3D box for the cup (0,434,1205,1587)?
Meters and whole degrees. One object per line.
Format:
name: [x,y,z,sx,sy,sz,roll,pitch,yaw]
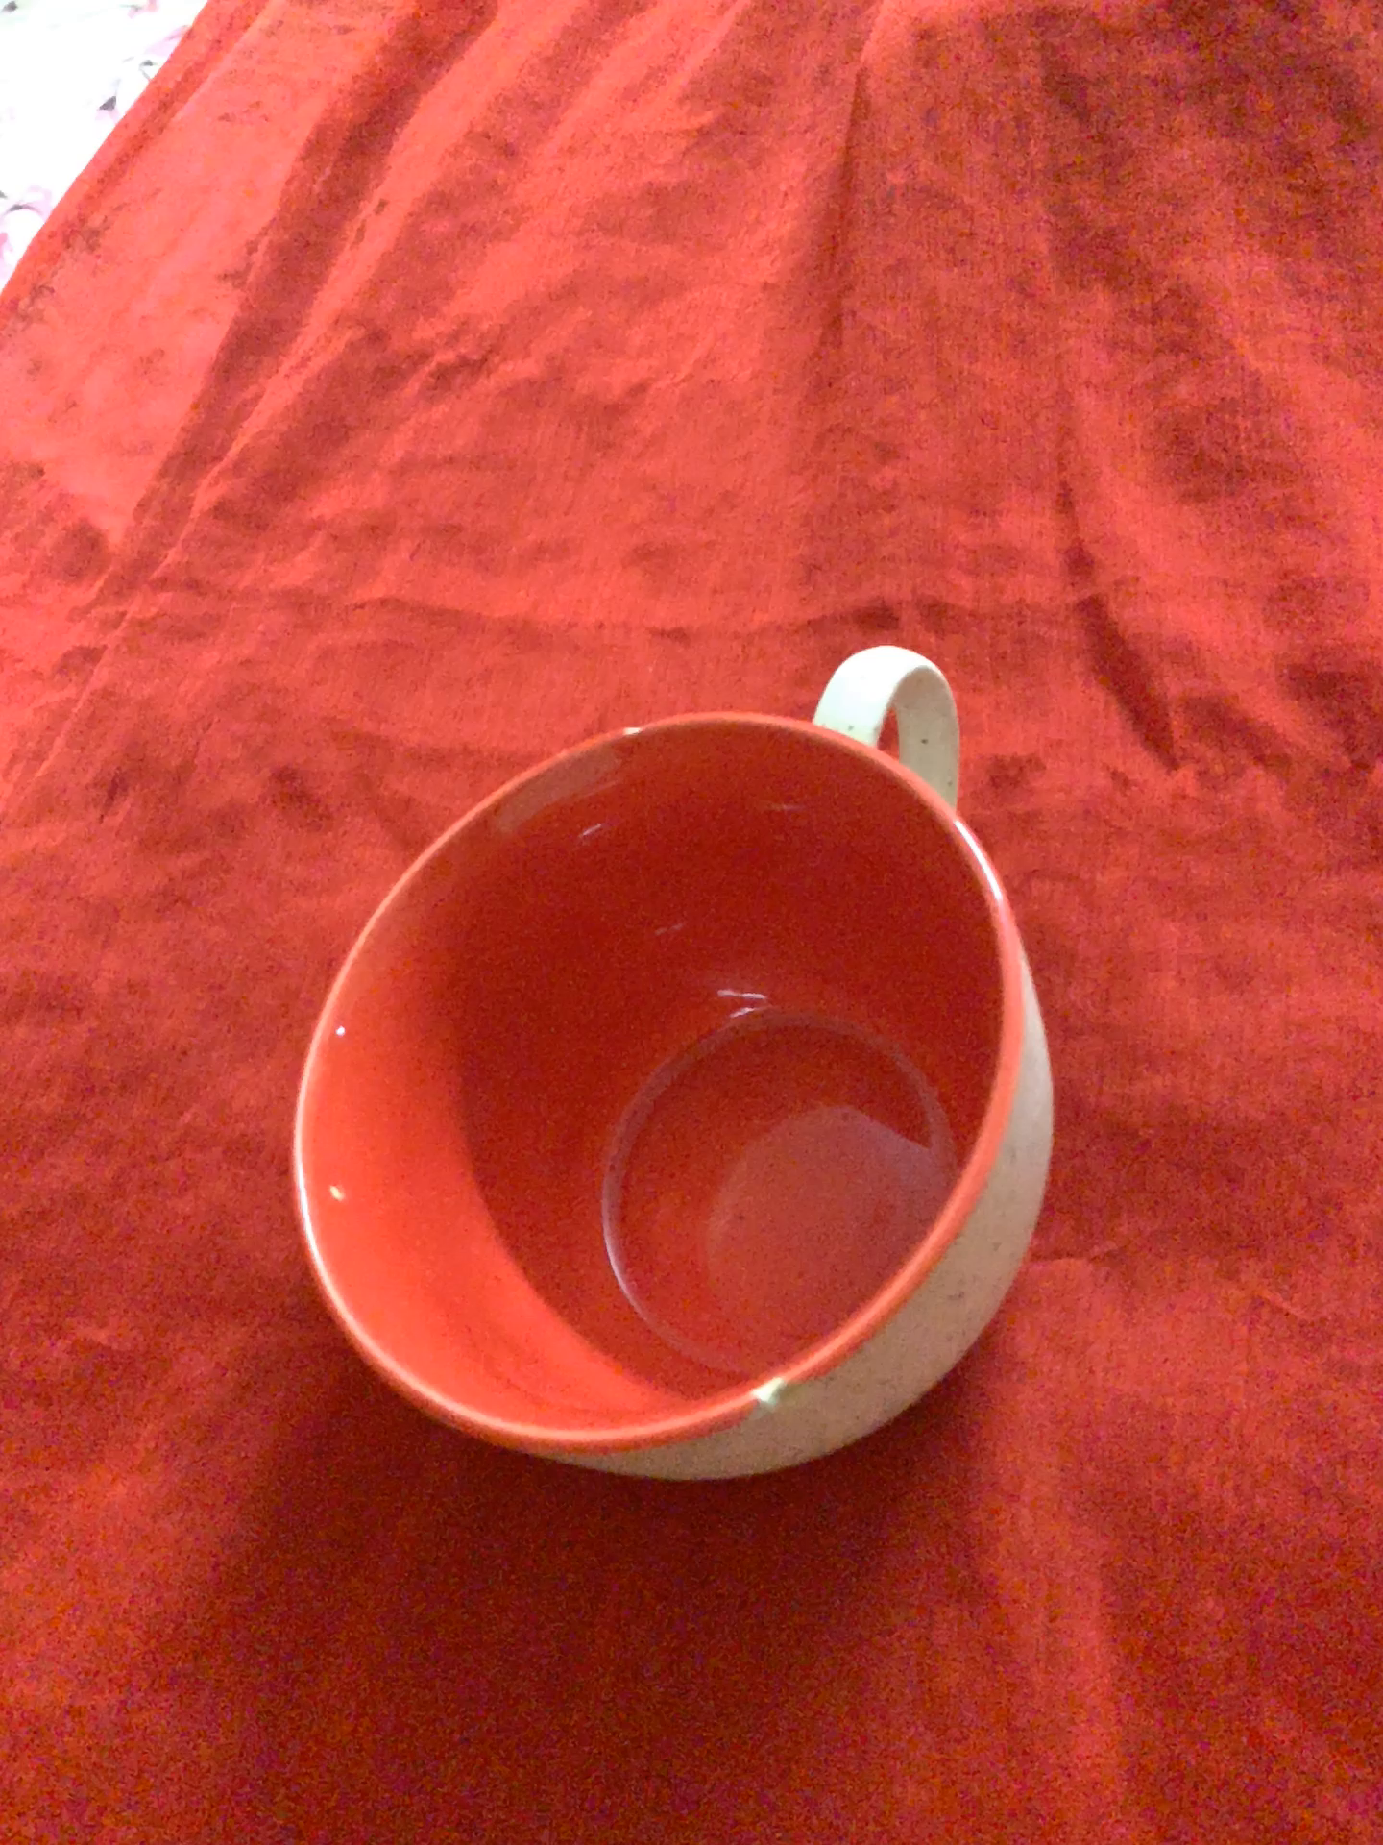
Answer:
cup: [-0.006,0.002,0.231,0.130,0.070,0.140,-11,56,16]
